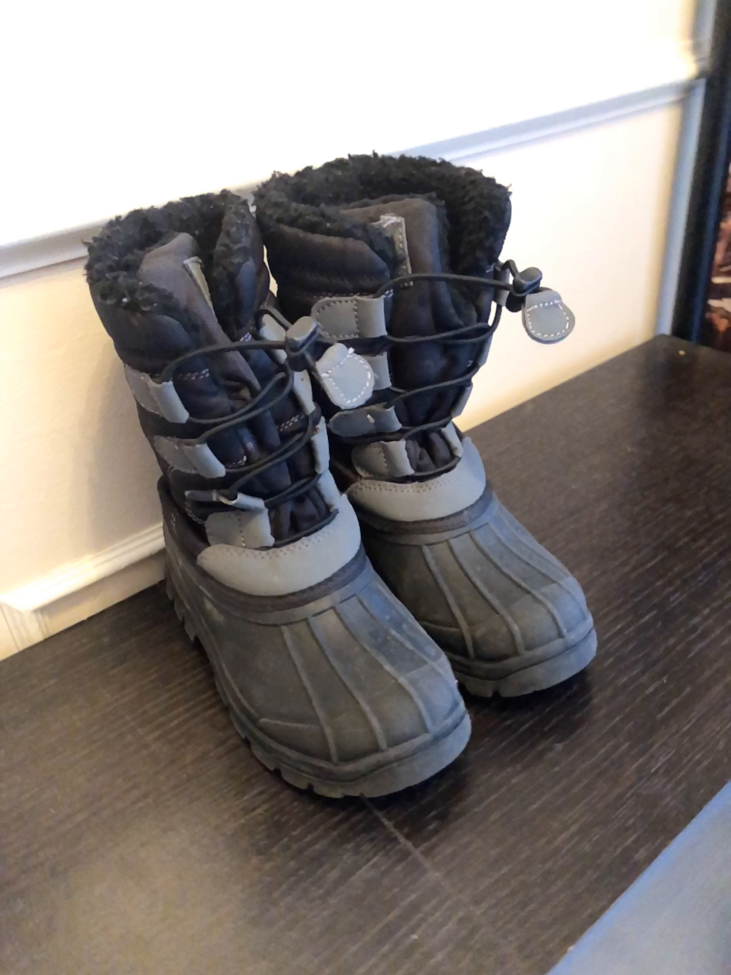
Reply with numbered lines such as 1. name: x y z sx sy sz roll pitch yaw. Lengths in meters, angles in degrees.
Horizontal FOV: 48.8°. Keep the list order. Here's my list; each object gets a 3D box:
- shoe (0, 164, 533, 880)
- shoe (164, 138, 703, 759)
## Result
1. shoe: -0.050 -0.005 0.344 0.100 0.209 0.221 -25 38 -28
2. shoe: 0.017 -0.036 0.386 0.100 0.209 0.221 -25 38 -28
